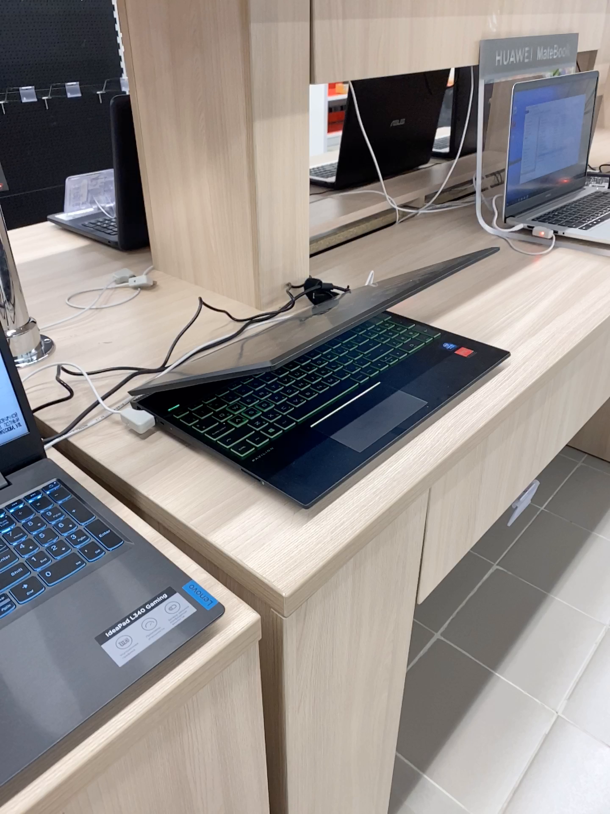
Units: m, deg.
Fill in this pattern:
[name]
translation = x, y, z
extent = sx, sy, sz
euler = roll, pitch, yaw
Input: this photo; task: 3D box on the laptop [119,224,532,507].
[laptop]
translation = 0.037, -0.079, 0.656
extent = 0.235, 0.108, 0.365
euler = 26, 40, 34
